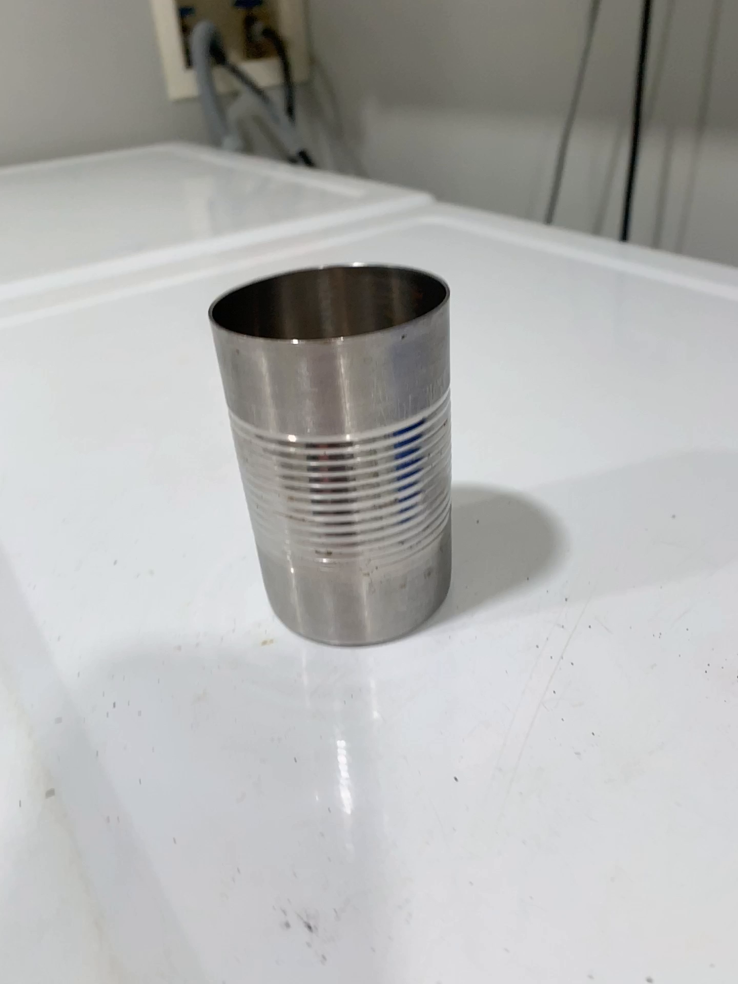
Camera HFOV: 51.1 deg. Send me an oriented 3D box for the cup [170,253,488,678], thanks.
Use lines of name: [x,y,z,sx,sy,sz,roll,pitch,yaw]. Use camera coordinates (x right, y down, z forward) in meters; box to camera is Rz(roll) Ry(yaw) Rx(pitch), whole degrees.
cup: [-0.008,-0.009,0.225,0.070,0.095,0.071,-3,31,2]
